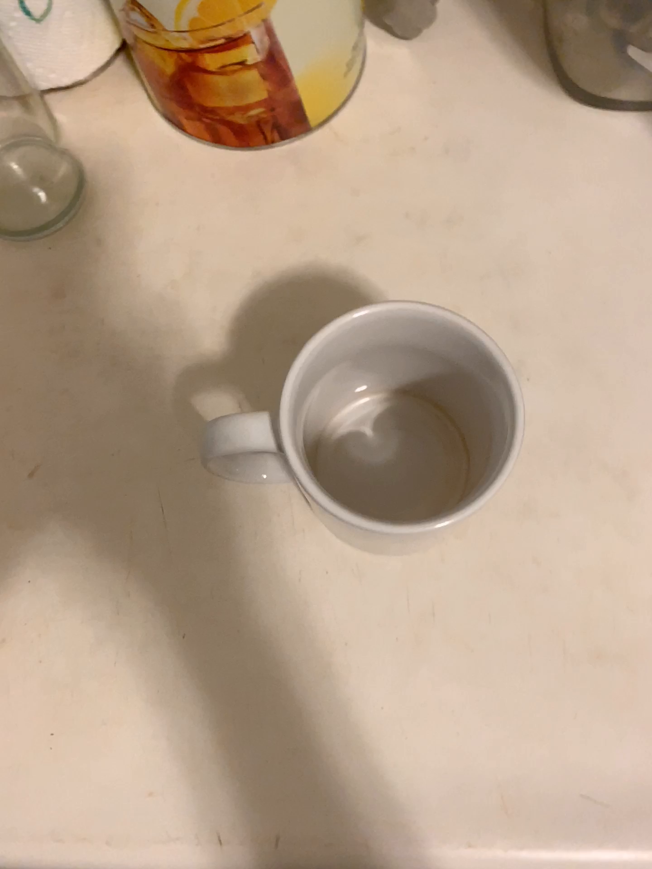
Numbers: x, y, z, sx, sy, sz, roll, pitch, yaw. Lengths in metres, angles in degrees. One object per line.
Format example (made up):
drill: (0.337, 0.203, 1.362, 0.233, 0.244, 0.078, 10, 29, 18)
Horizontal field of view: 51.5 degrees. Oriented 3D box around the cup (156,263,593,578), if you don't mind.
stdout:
cup: (0.015, 0.004, 0.289, 0.140, 0.110, 0.090, -8, 75, 0)
